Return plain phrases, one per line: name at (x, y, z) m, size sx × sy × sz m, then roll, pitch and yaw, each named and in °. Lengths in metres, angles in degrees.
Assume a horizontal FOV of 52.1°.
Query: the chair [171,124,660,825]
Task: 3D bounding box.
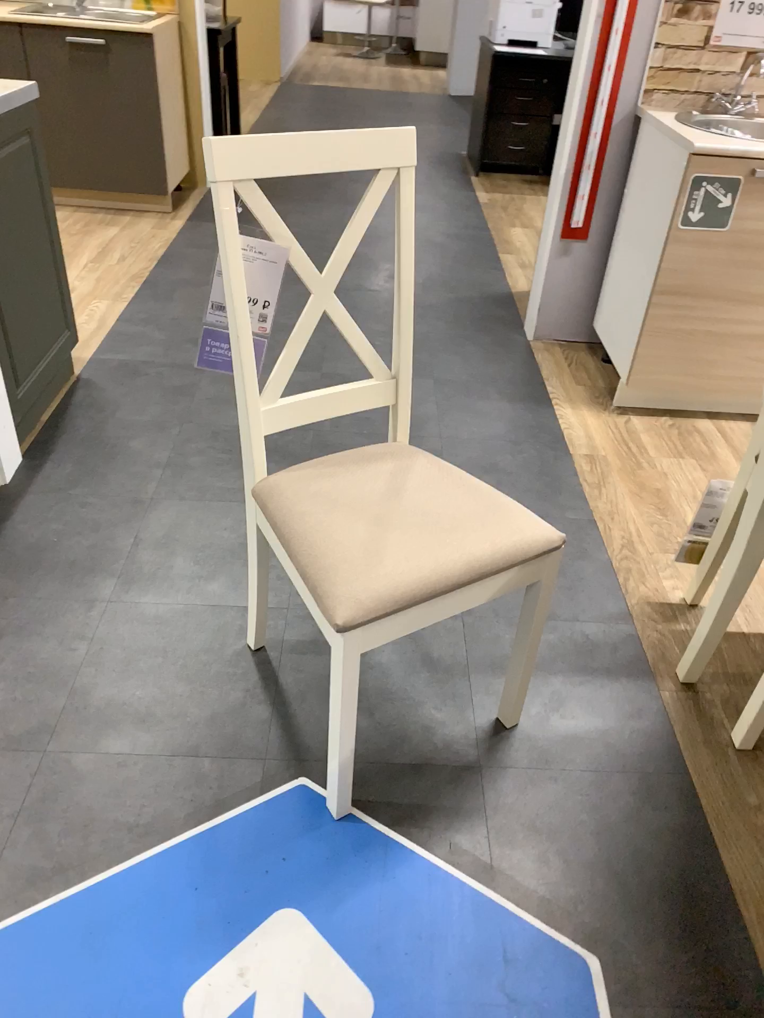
chair at (-0.012, -0.054, 1.334) m, size 0.436 × 0.988 × 0.529 m, roll -17°, pitch 41°, yaw -28°
